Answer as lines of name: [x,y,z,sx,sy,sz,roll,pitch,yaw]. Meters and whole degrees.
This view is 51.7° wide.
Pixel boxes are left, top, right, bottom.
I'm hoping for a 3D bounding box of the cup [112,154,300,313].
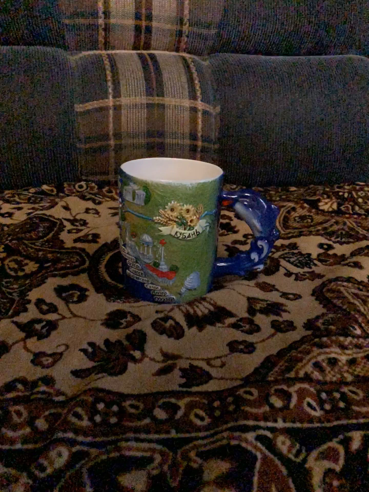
cup: [0.015,-0.015,0.335,0.136,0.105,0.084,4,24,2]
